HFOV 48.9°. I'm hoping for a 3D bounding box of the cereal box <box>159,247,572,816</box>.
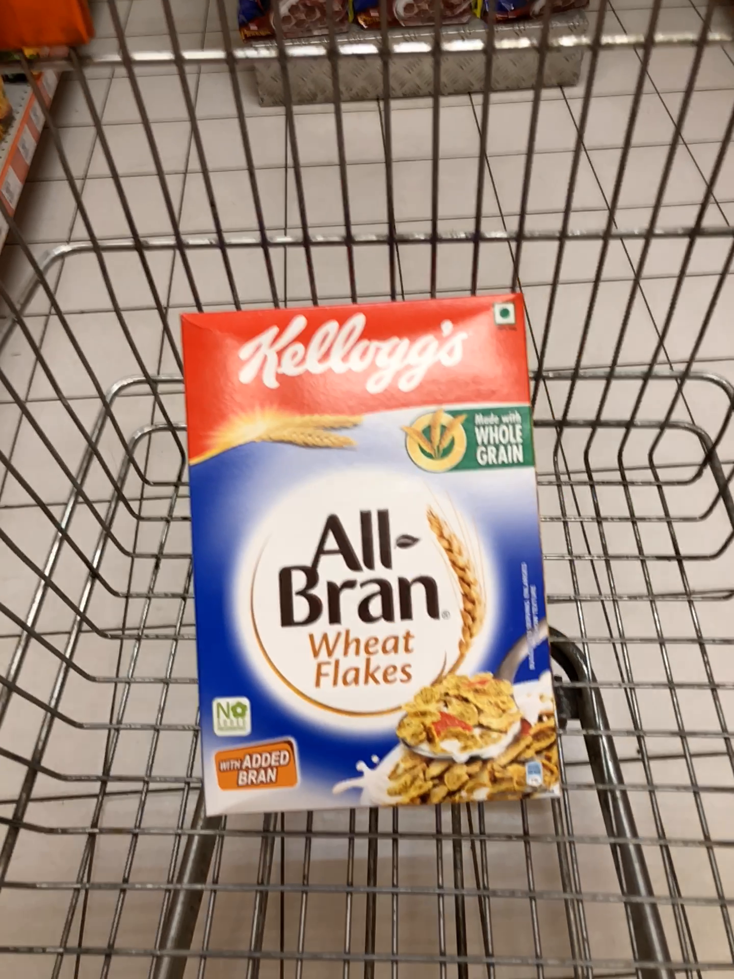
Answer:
[{"bbox_3d":[-0.001,0.020,0.436,0.190,0.080,0.270,-3,89,0],"label":"cereal box"}]
